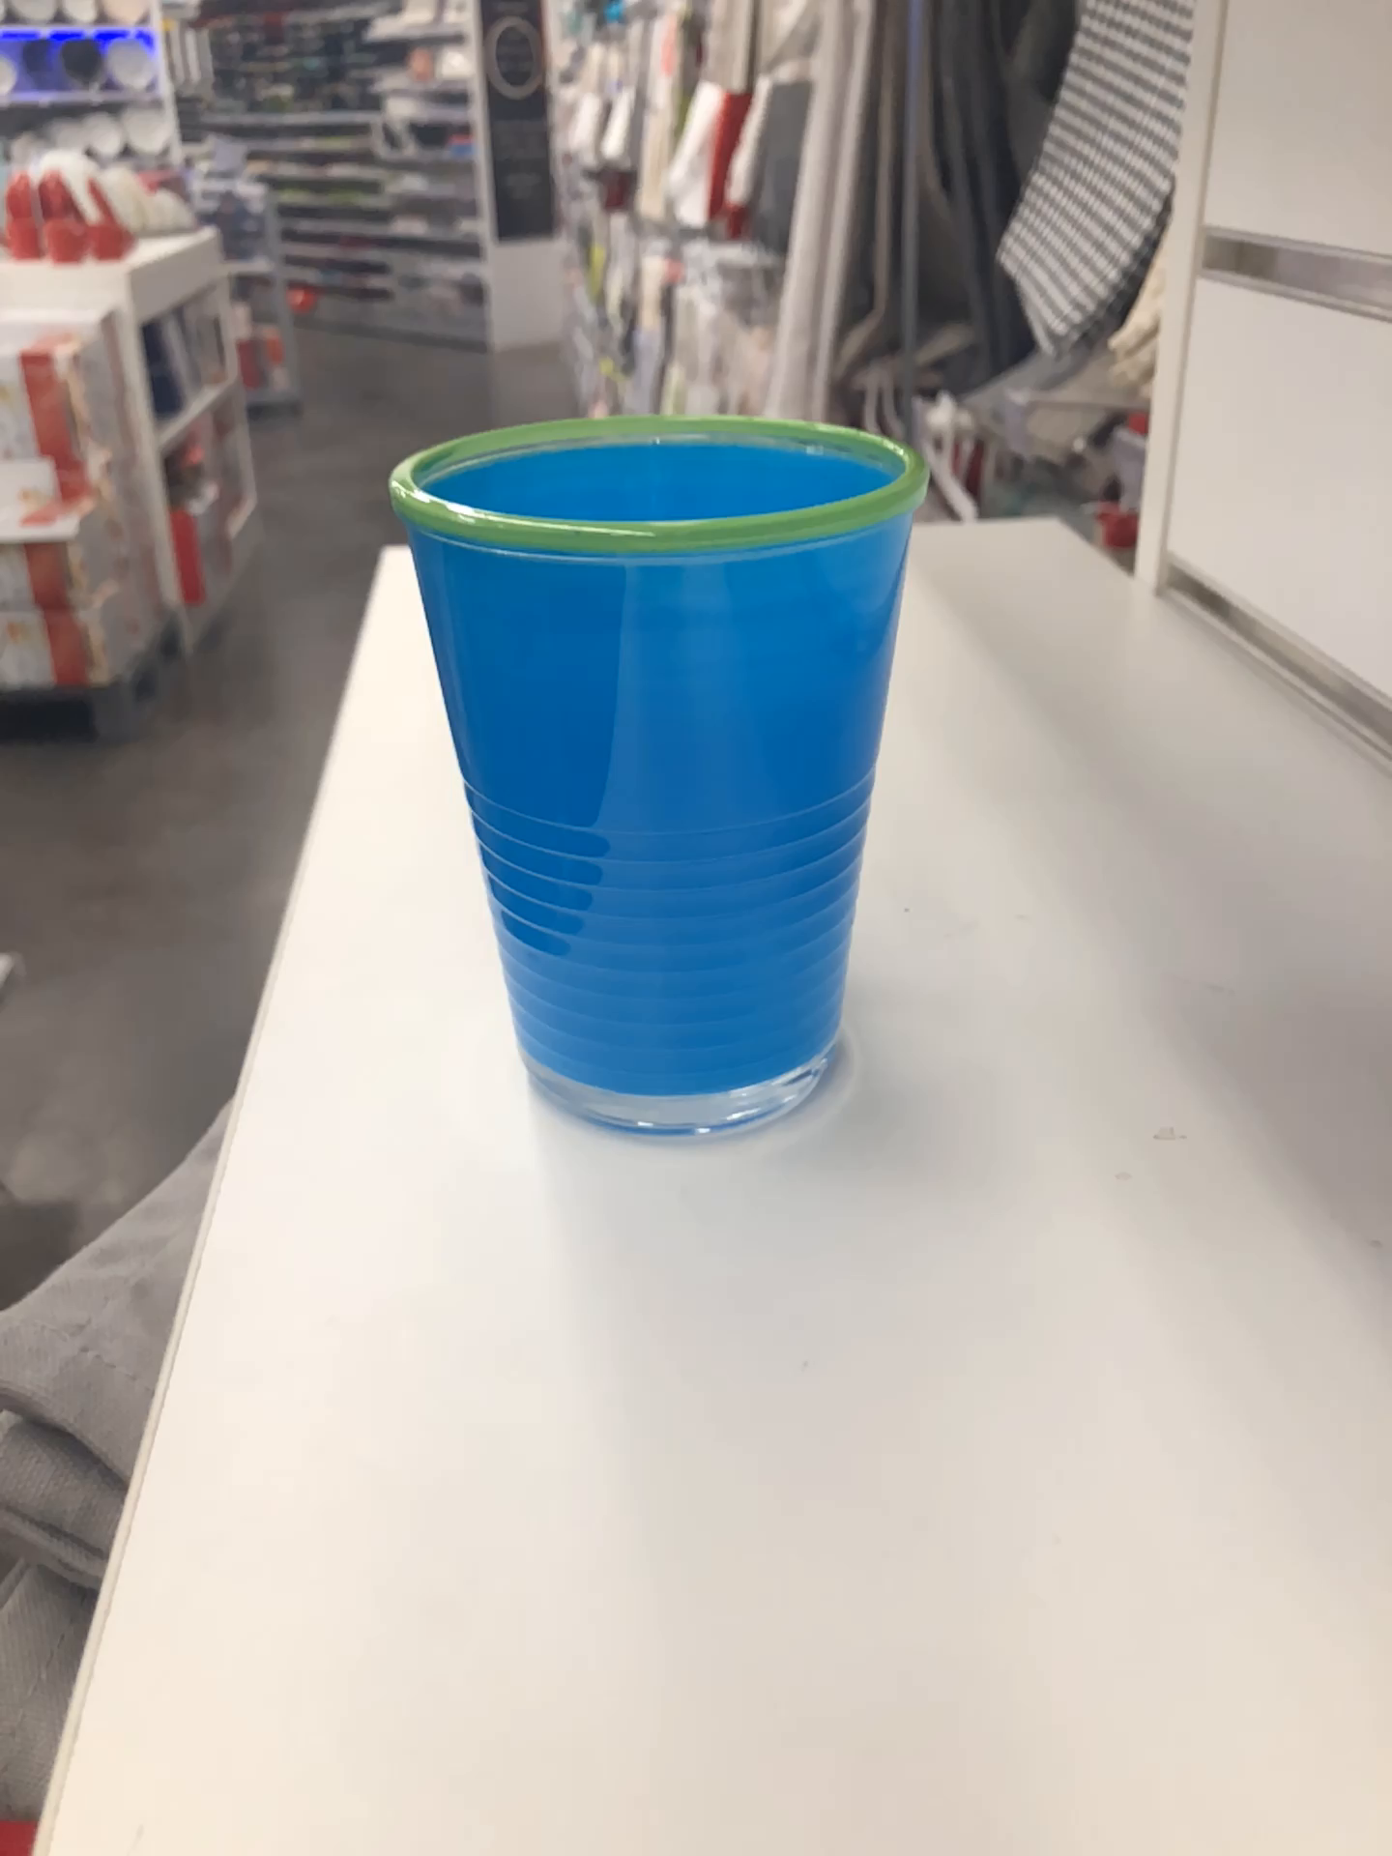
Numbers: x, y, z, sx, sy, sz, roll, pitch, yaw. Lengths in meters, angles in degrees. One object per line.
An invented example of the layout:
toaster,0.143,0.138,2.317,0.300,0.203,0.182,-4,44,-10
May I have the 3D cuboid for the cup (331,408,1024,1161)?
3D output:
cup,-0.003,-0.027,0.243,0.083,0.090,0.081,-1,28,0
